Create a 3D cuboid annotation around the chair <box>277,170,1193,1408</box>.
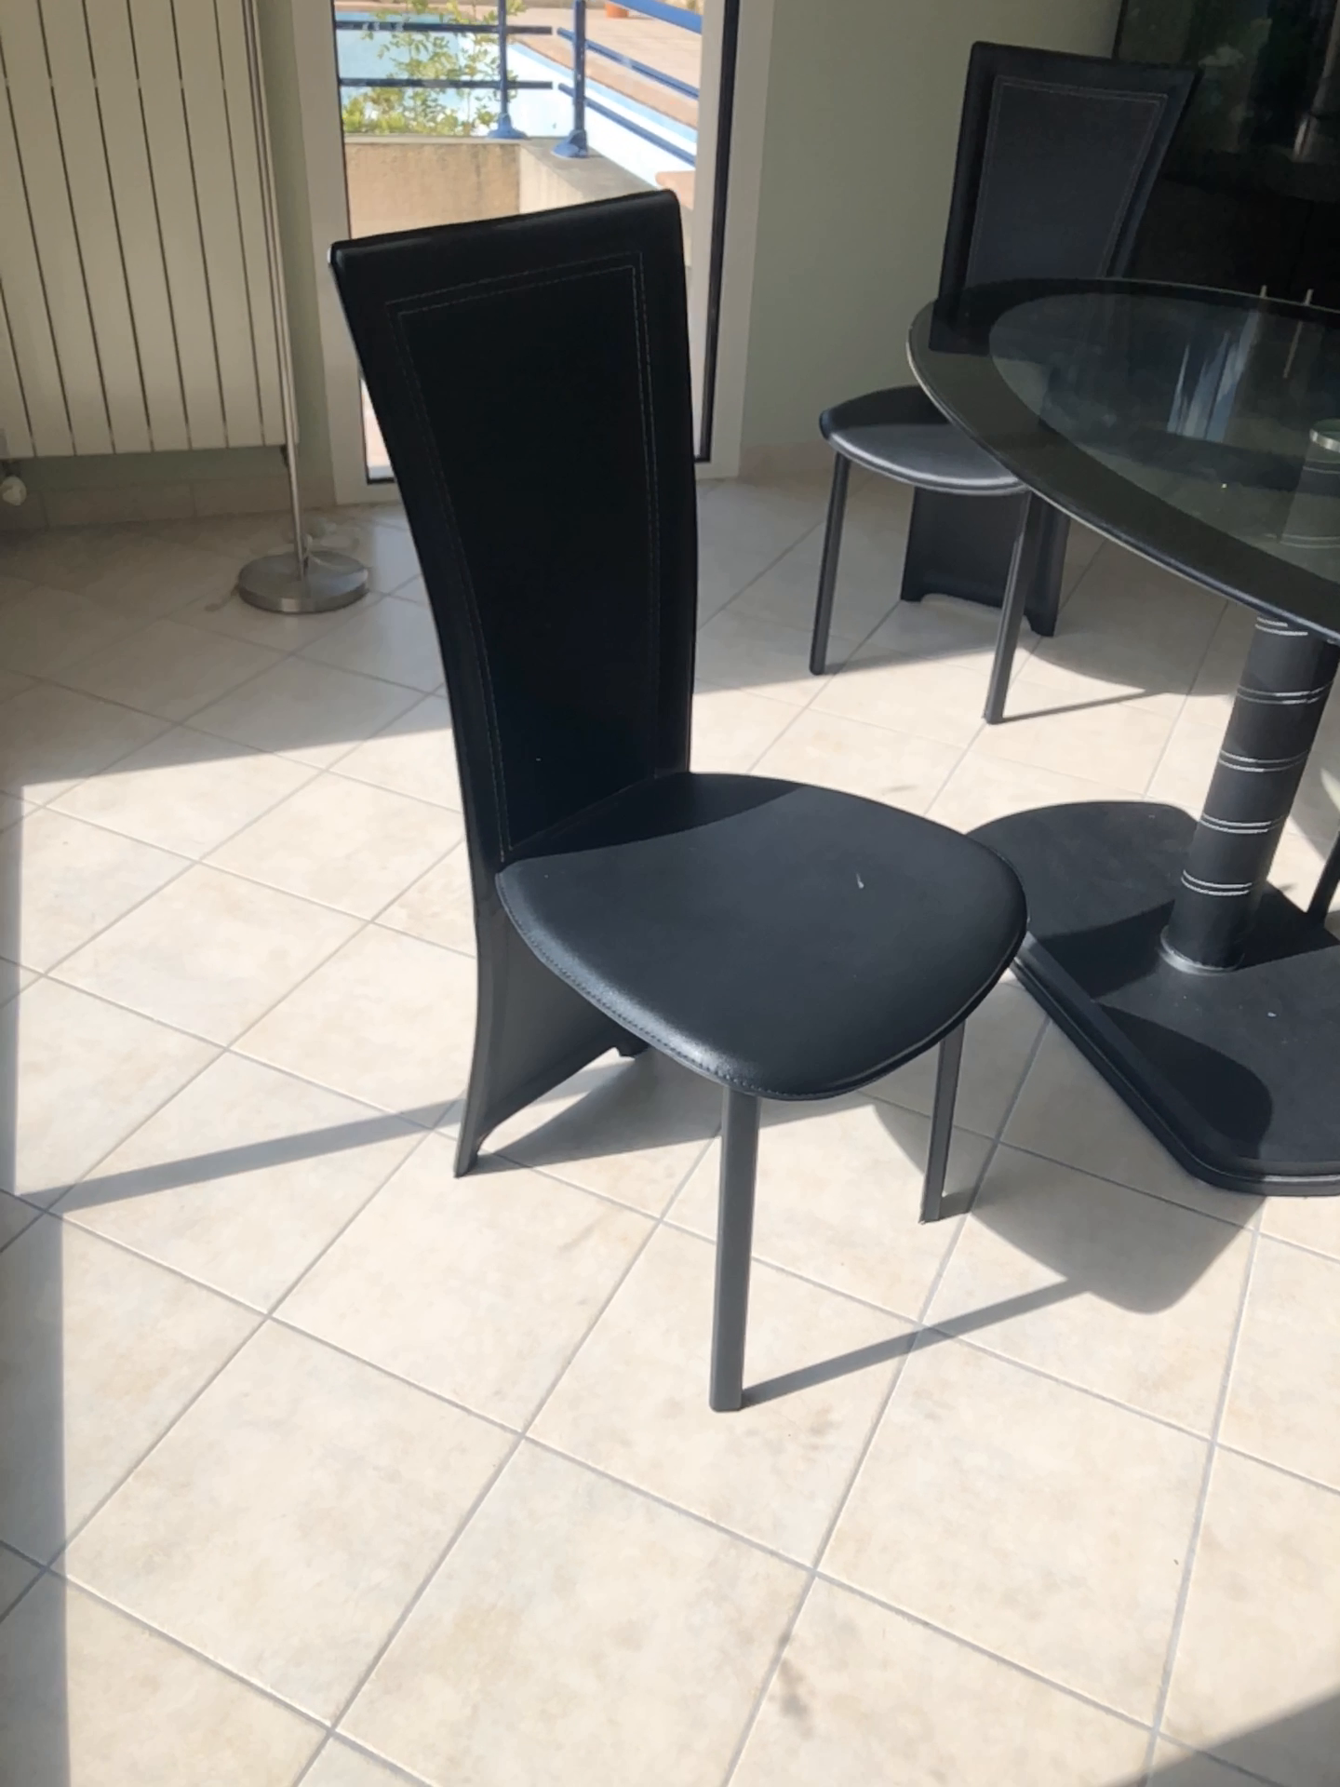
[{"bbox_3d":[0.040,-0.107,1.324,0.500,0.895,0.453,27,41,33],"label":"chair"}]
